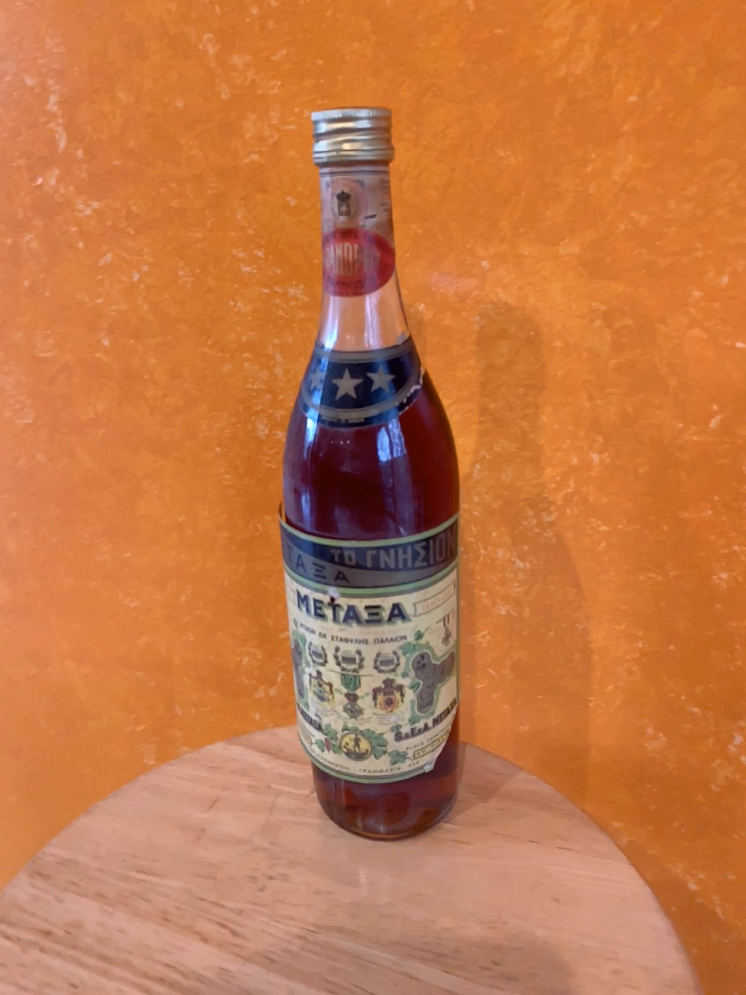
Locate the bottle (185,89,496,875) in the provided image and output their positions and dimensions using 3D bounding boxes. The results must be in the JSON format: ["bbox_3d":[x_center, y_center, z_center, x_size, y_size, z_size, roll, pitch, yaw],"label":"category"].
[{"bbox_3d":[-0.001,0.007,0.311,0.080,0.298,0.070,7,26,21],"label":"bottle"}]
